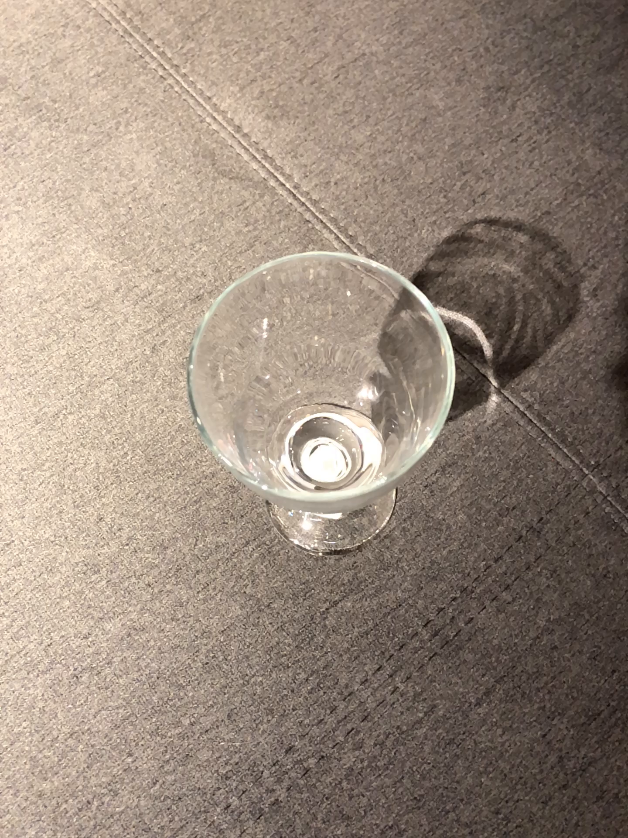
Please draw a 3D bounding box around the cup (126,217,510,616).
[{"bbox_3d":[0.004,0.016,0.295,0.090,0.170,0.090,0,70,1],"label":"cup"}]
